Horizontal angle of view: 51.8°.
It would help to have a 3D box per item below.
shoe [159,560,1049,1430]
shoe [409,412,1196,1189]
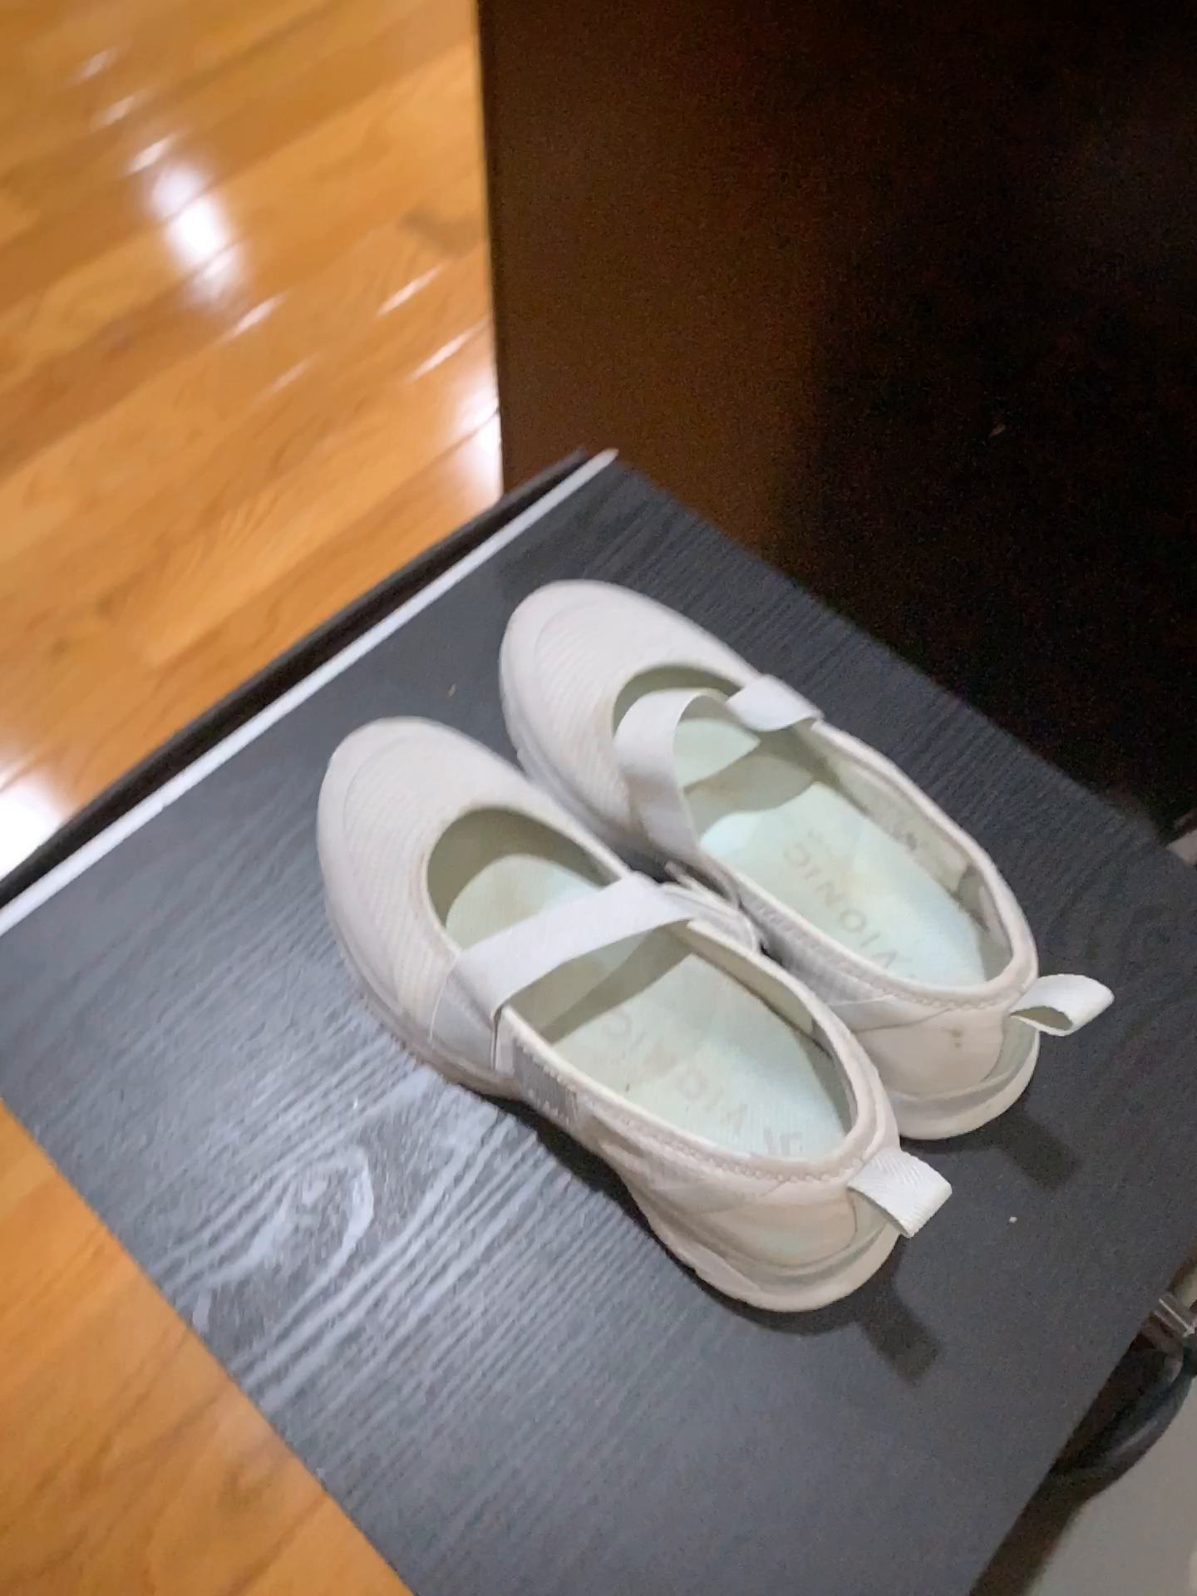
[{"bbox_3d":[-0.008,0.054,0.384,0.103,0.093,0.249,-40,69,-21],"label":"shoe"},{"bbox_3d":[0.061,-0.005,0.420,0.103,0.093,0.249,-40,69,-21],"label":"shoe"}]
